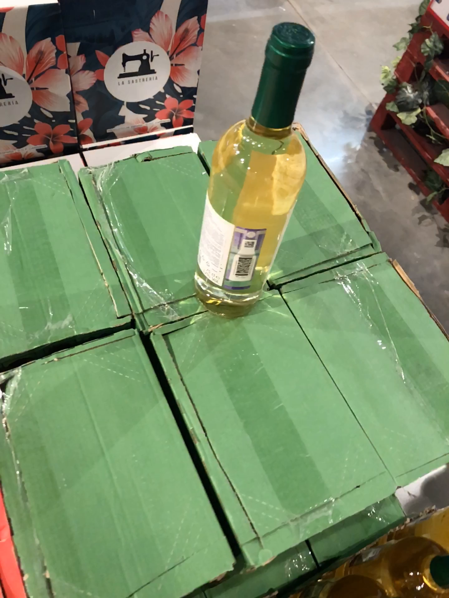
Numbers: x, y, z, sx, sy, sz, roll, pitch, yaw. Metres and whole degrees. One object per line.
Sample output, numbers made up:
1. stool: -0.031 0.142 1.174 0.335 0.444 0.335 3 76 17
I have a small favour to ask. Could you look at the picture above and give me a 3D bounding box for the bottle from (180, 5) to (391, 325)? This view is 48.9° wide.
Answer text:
1. bottle: 0.027 -0.087 0.414 0.084 0.262 0.080 5 59 -7
